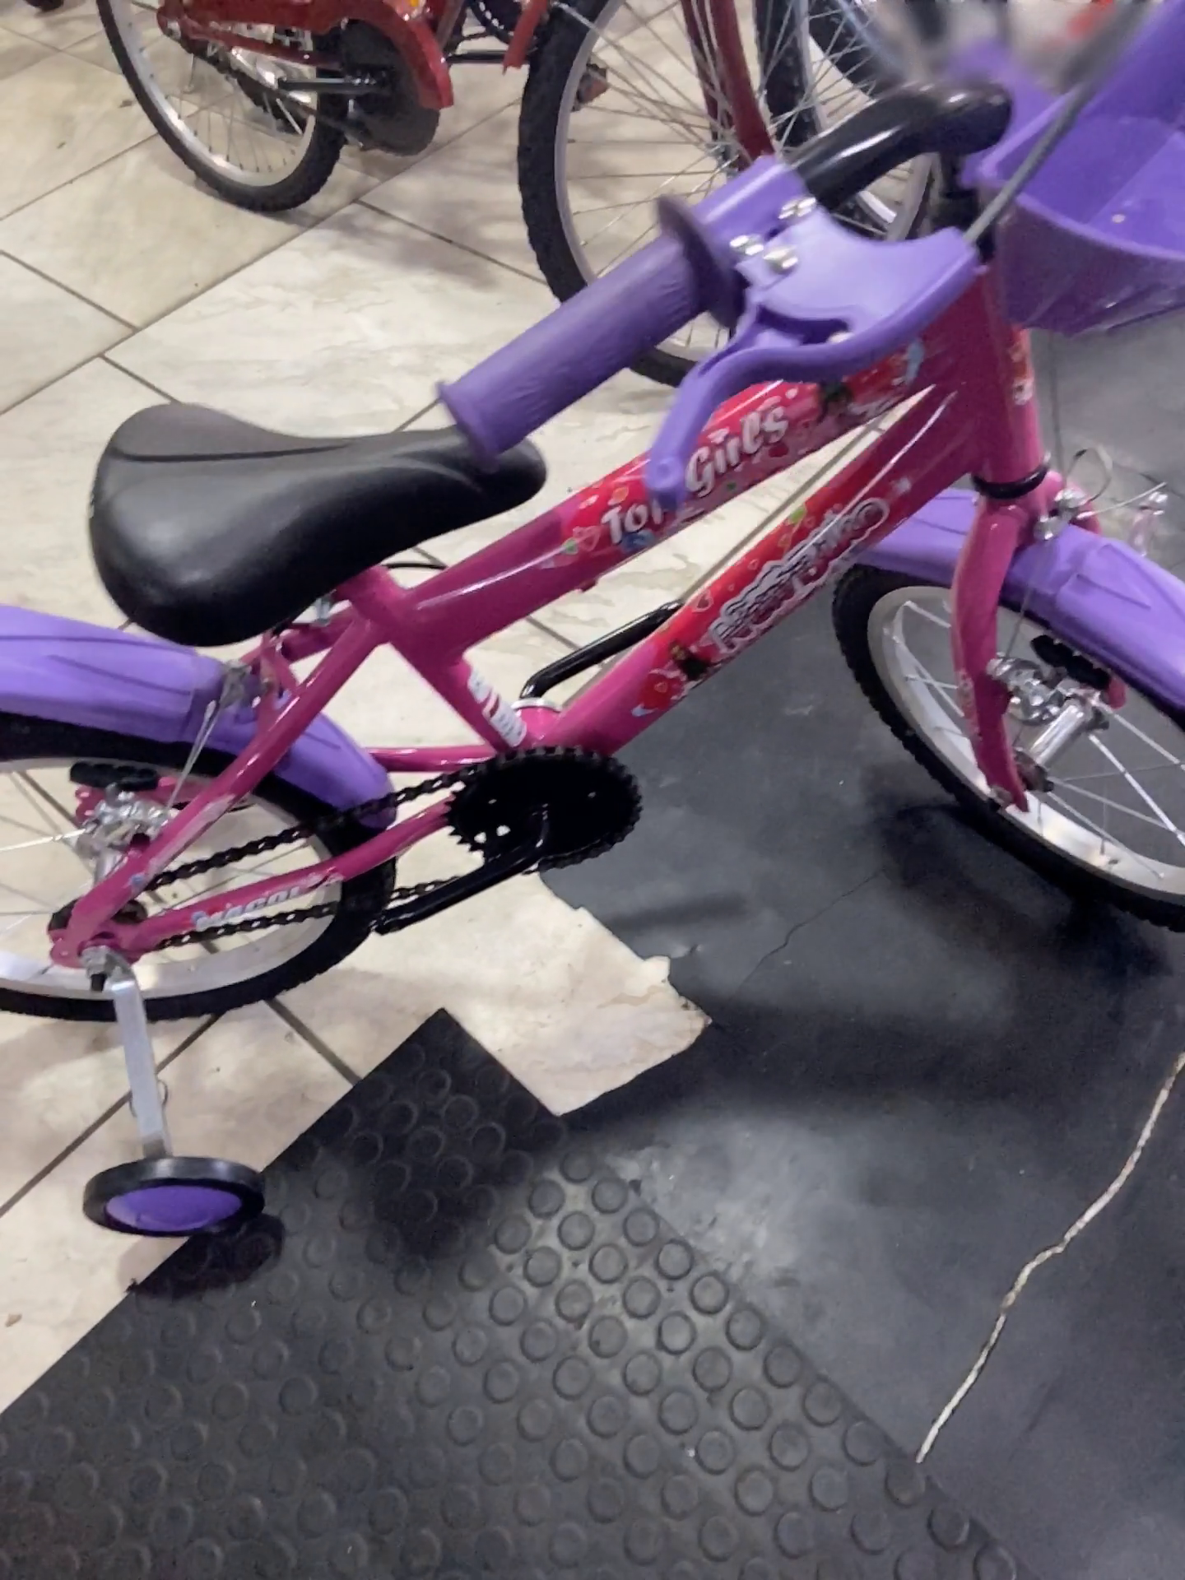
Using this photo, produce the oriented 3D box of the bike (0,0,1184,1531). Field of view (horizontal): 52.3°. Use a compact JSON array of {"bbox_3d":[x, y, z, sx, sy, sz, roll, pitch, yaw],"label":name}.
[{"bbox_3d":[-0.021,-0.008,0.632,0.921,0.703,0.548,-1,53,4],"label":"bike"}]
